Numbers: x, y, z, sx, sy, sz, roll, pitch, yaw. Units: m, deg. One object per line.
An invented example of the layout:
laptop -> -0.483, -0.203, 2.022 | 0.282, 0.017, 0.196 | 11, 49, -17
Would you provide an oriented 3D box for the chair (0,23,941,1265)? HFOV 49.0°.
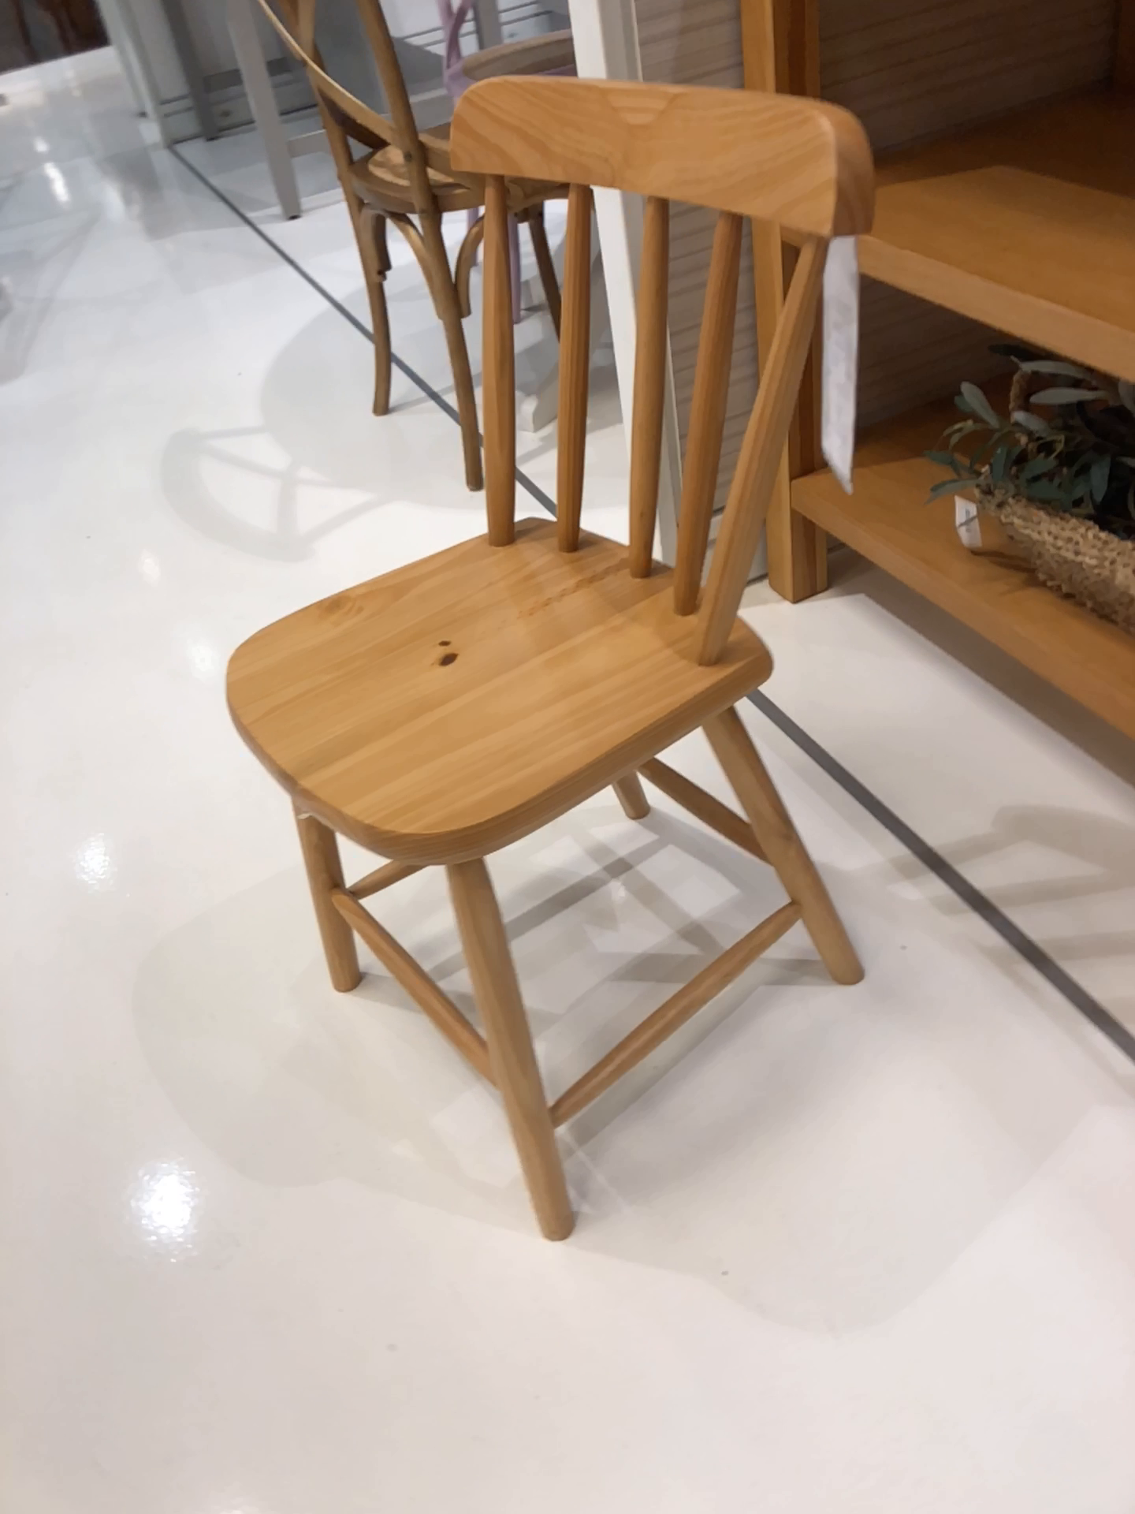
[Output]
chair -> -0.035, -0.087, 0.982 | 0.451, 0.754, 0.422 | -31, 42, -22
